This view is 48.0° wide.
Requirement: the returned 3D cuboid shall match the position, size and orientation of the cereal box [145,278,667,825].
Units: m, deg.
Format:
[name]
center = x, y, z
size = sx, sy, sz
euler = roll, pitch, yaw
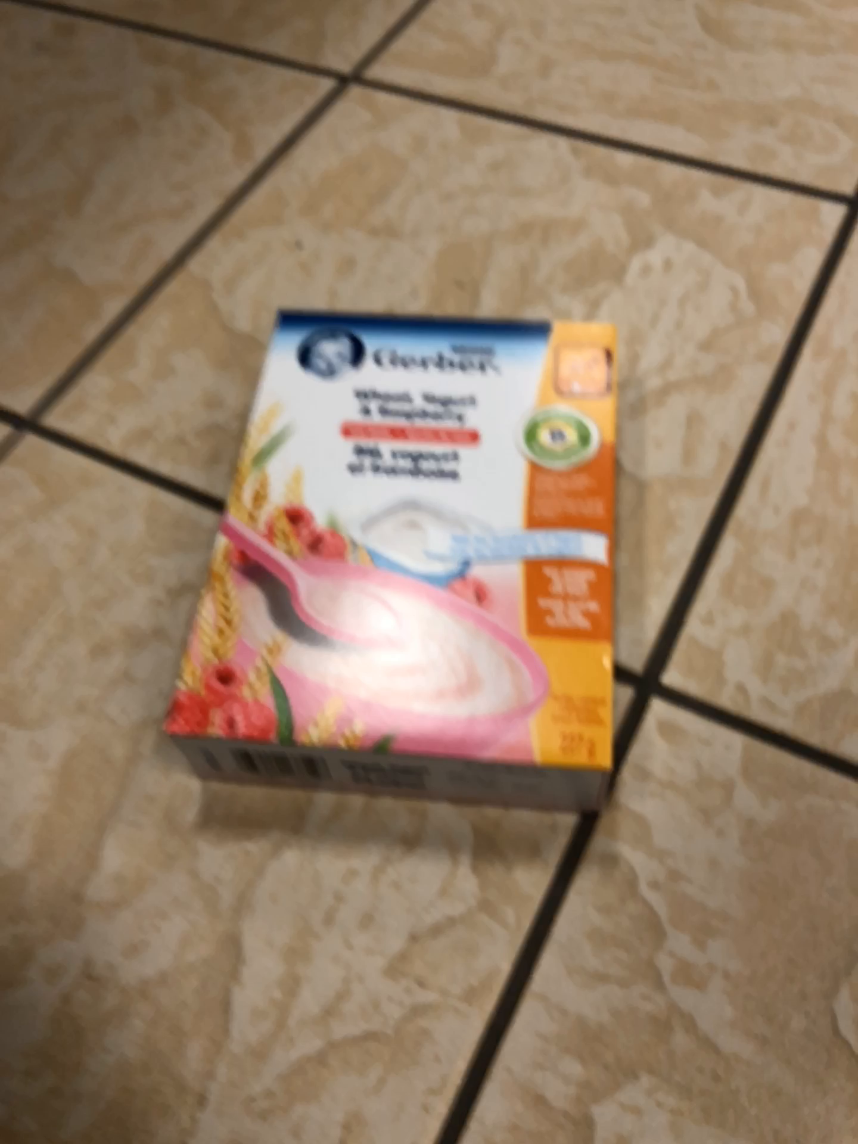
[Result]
[cereal box]
center = 0.004, -0.021, 0.371
size = 0.160, 0.050, 0.210
euler = 4, 57, 6
